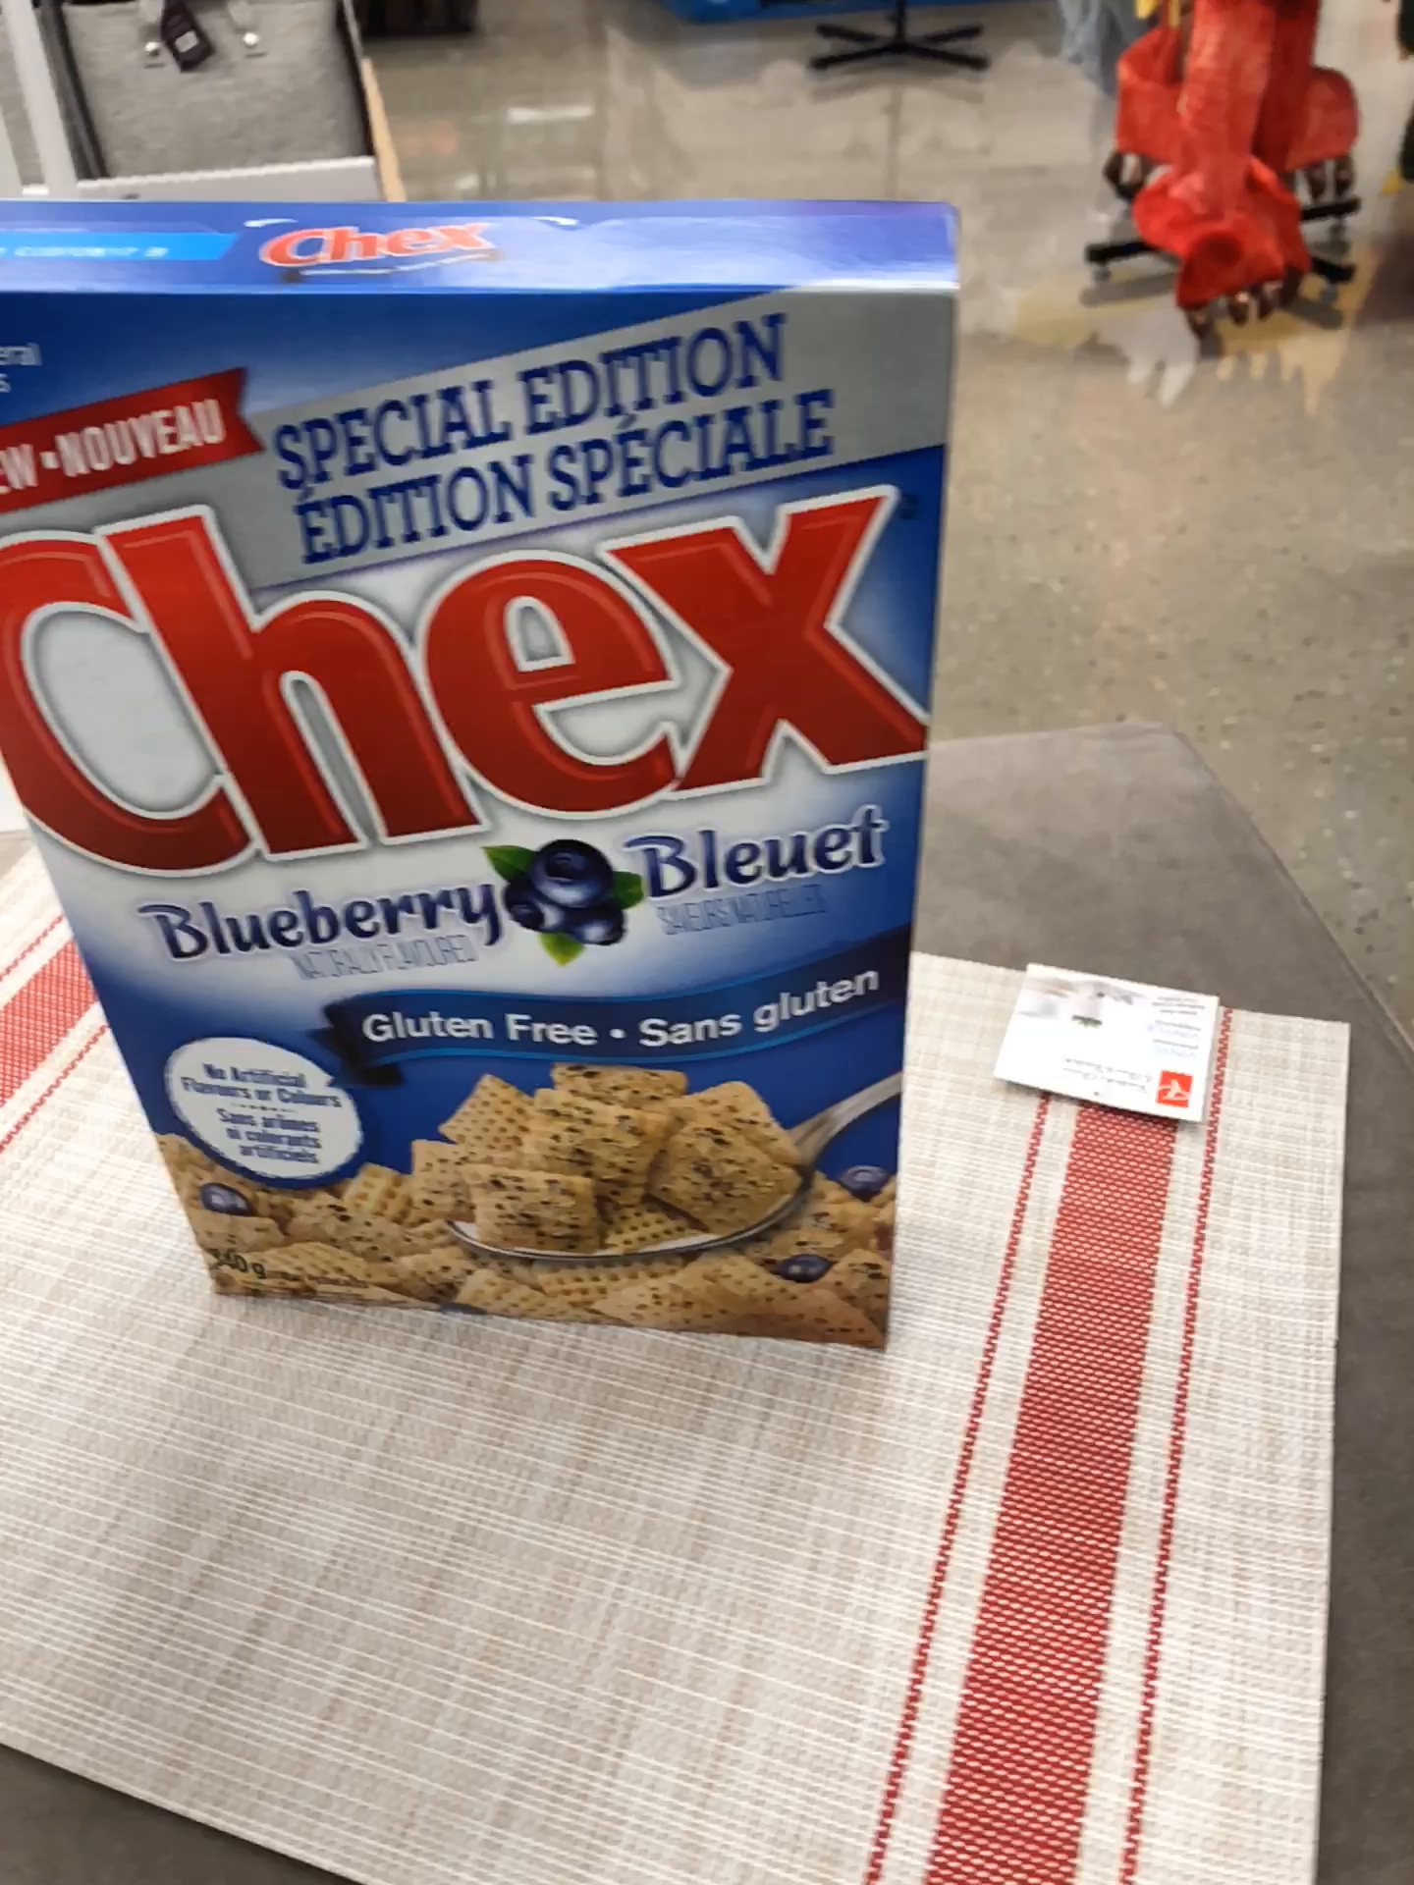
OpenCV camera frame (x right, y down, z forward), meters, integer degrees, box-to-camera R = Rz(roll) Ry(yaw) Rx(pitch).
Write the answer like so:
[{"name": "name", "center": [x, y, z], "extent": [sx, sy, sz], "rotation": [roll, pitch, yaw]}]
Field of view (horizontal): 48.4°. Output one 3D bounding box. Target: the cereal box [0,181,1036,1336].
[{"name": "cereal box", "center": [-0.044, -0.021, 0.348], "extent": [0.200, 0.259, 0.050], "rotation": [3, 40, 6]}]
